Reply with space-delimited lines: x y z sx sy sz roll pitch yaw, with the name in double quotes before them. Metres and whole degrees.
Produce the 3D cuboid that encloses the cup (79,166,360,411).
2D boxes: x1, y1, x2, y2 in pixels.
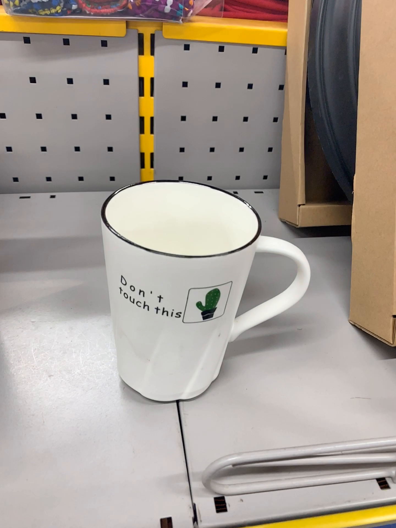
"cup" 0.004 0.015 0.258 0.130 0.119 0.090 0 36 -7
